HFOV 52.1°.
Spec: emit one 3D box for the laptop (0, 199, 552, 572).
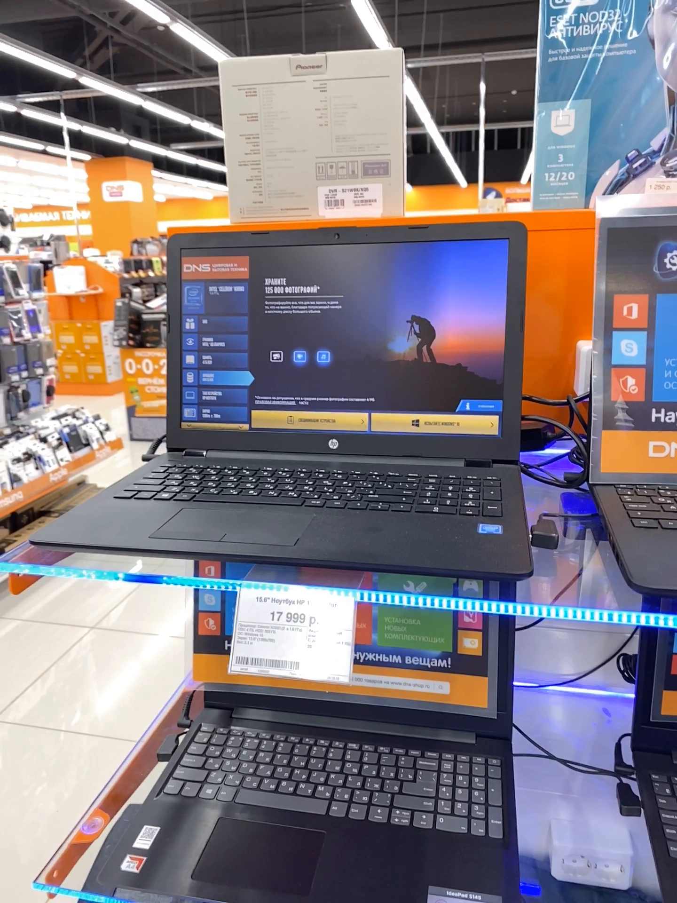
[{"bbox_3d":[-0.030,-0.083,0.632,0.388,0.236,0.323,2,15,12],"label":"laptop"}]
